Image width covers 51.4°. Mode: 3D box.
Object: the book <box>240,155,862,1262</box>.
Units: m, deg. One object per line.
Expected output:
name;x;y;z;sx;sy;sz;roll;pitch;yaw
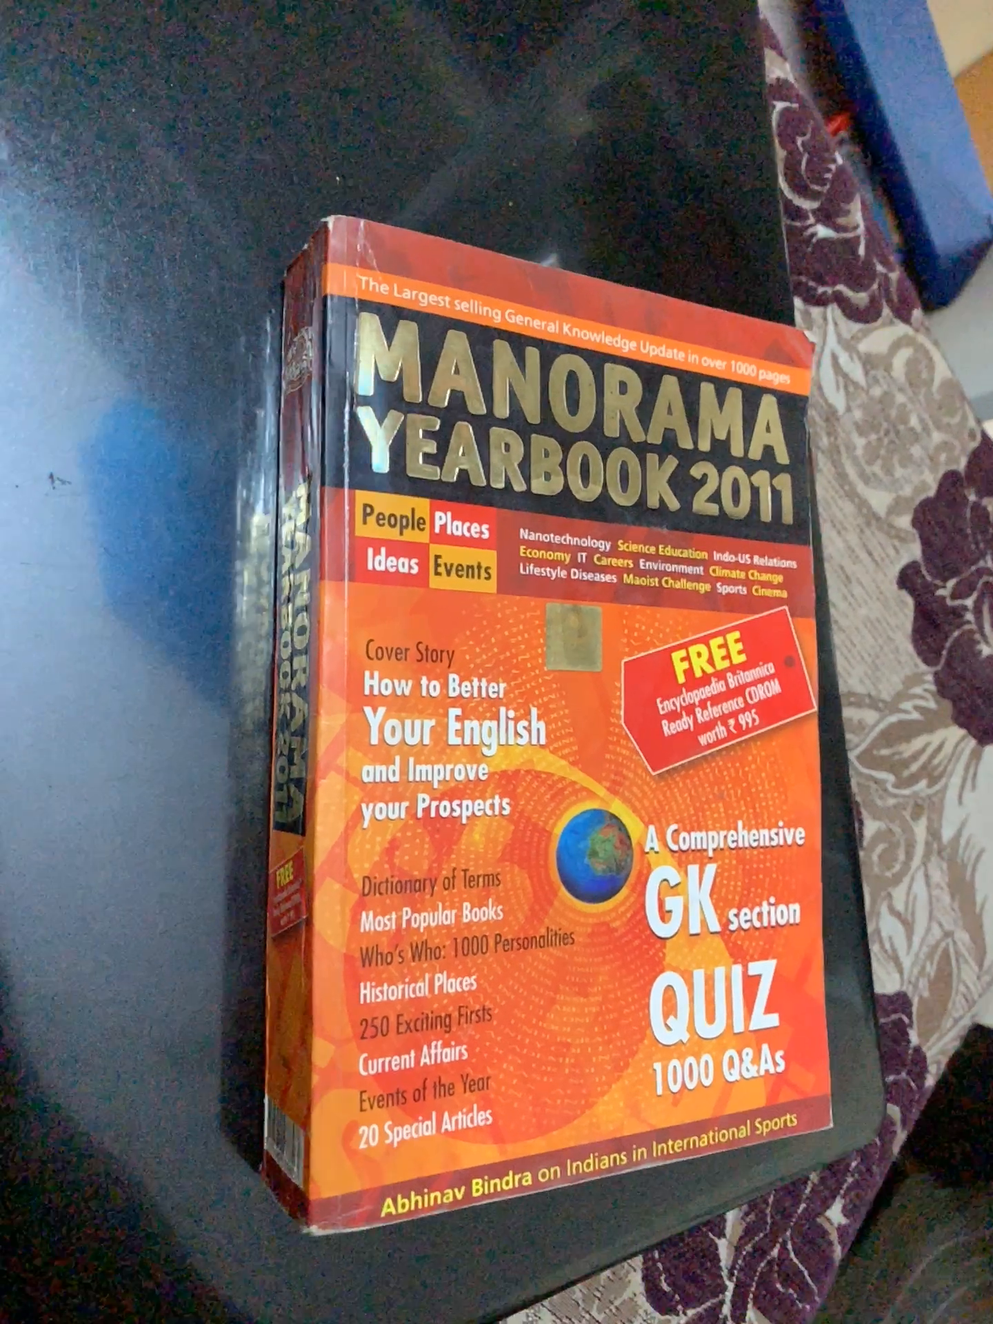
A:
book;0.017;0.008;0.253;0.141;0.050;0.210;4;82;-30
